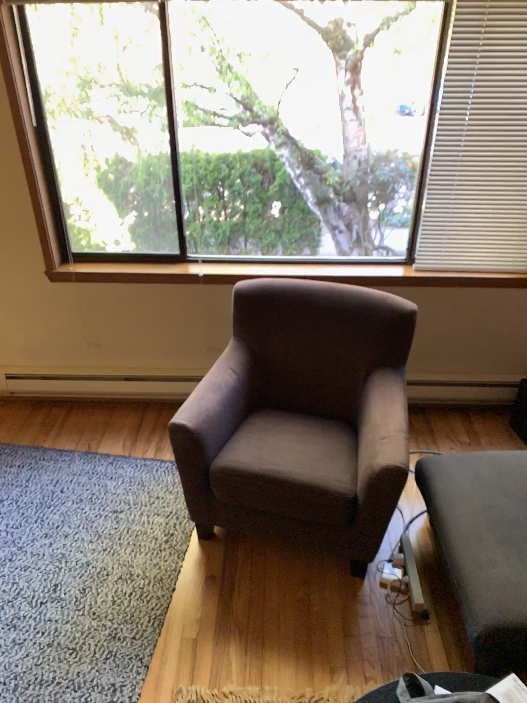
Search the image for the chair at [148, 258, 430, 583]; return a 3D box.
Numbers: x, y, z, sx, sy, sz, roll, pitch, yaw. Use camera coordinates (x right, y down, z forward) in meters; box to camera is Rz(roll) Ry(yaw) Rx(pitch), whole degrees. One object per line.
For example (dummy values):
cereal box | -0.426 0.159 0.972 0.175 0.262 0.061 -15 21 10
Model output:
chair | 0.150 0.212 2.196 0.881 0.875 0.804 8 30 13
